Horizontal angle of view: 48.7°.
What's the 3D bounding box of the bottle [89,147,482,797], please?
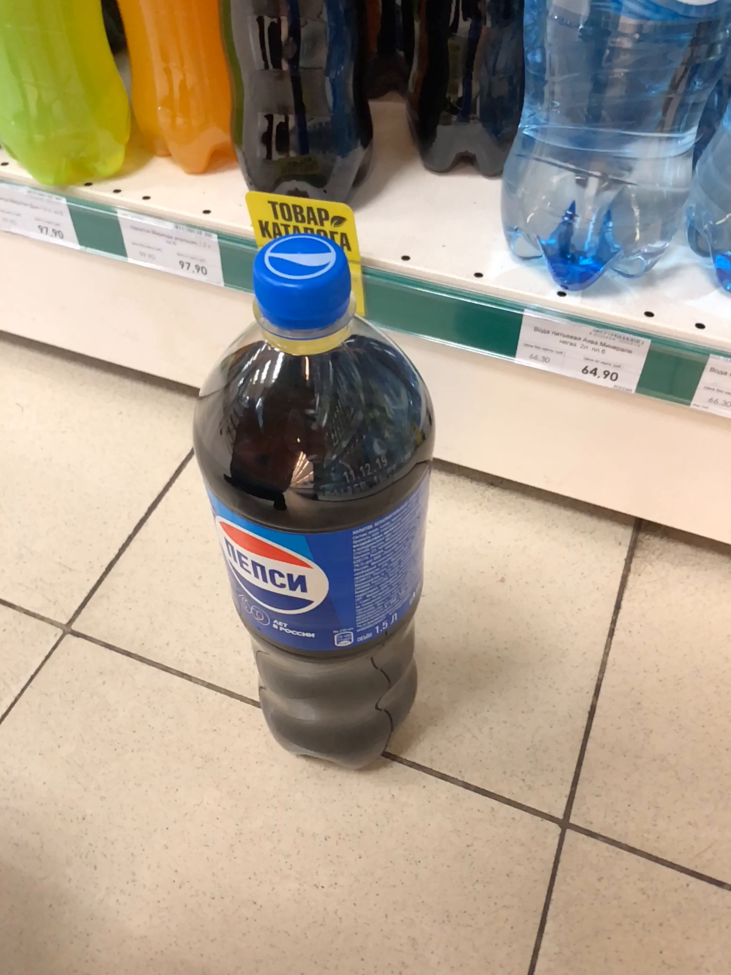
[{"bbox_3d":[-0.020,0.027,0.366,0.089,0.315,0.085,0,50,0],"label":"bottle"}]
